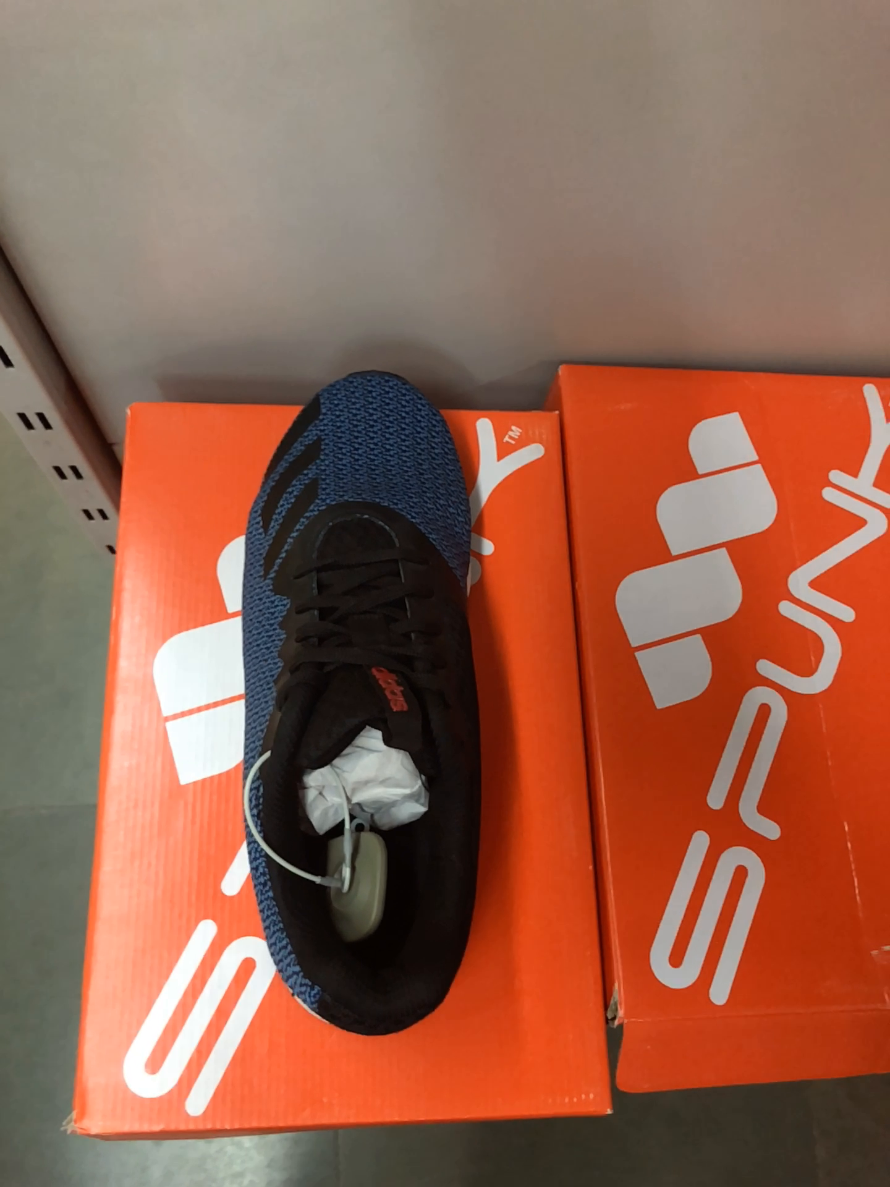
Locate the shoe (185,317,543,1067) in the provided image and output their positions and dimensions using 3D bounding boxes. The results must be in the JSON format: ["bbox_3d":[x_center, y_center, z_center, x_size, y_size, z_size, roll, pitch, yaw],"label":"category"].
[{"bbox_3d":[-0.034,0.038,0.394,0.105,0.136,0.254,-1,71,-5],"label":"shoe"}]
